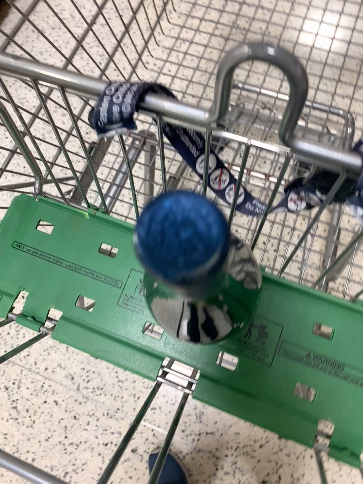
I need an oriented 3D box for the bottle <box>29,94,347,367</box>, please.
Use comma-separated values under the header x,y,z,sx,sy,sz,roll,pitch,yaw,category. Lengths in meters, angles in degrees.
x,y,z,sx,sy,sz,roll,pitch,yaw,category
0.015,0.026,0.242,0.080,0.288,0.075,-1,77,5,bottle
